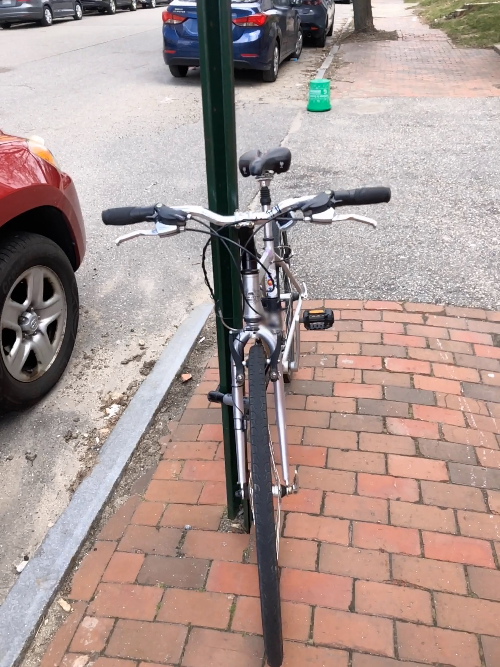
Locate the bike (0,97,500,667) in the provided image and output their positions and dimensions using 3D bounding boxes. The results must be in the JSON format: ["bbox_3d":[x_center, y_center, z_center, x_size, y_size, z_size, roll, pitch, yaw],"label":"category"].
[{"bbox_3d":[0.039,-0.089,1.503,0.608,1.011,1.569,3,27,2],"label":"bike"}]
